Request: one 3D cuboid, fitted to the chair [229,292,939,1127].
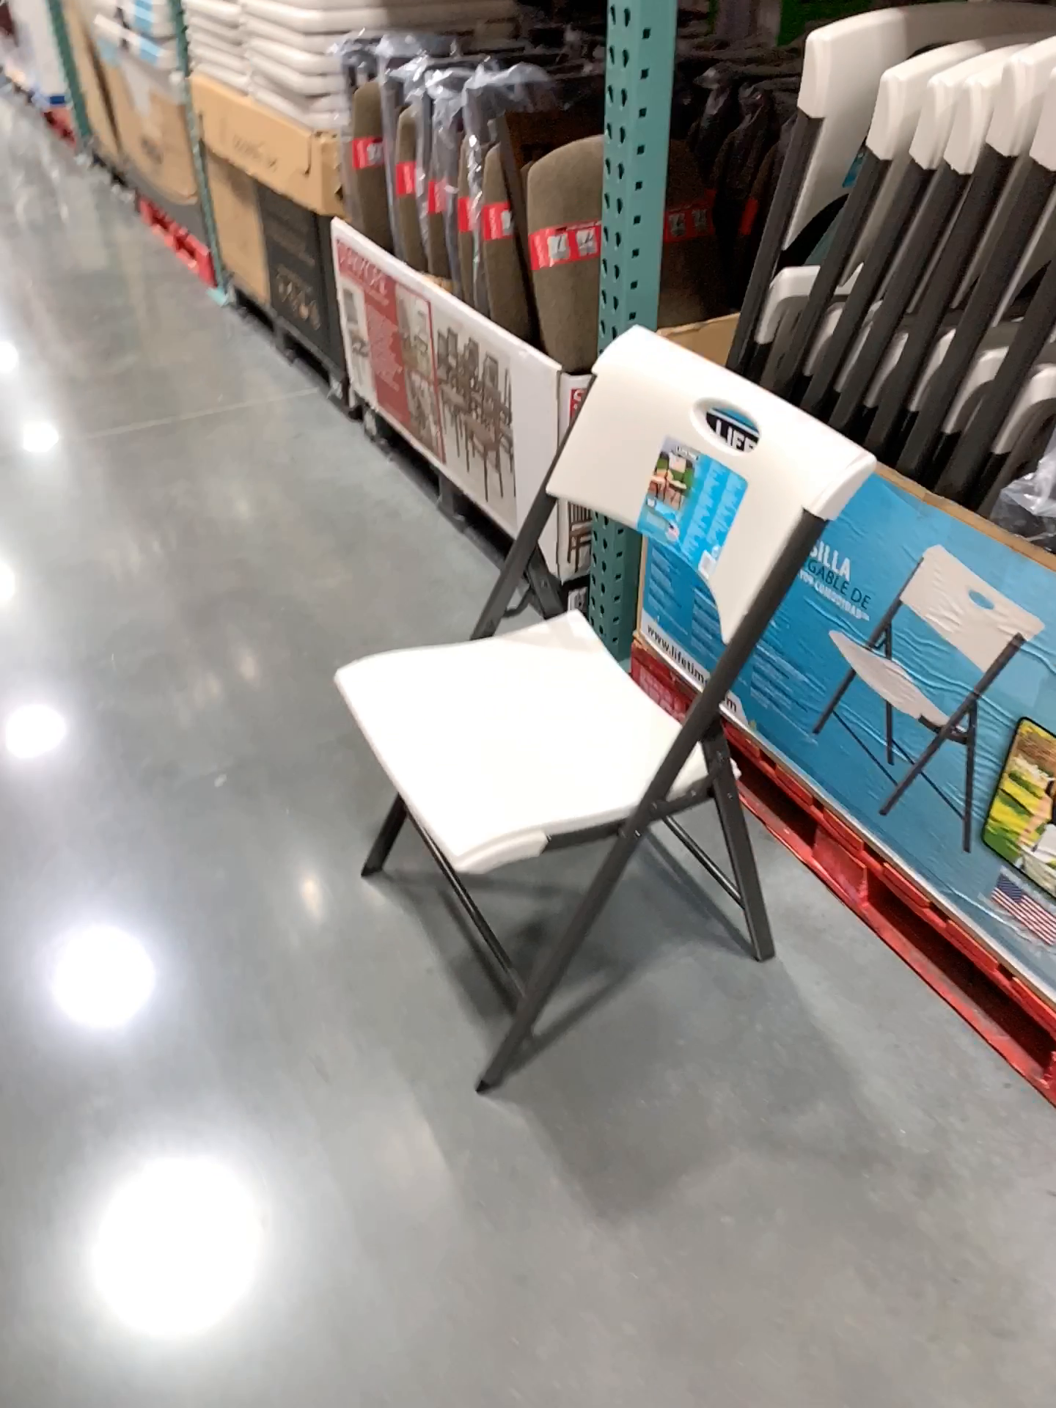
[{"bbox_3d":[0.035,-0.015,1.439,0.575,0.806,0.567,-19,42,-22],"label":"chair"}]
